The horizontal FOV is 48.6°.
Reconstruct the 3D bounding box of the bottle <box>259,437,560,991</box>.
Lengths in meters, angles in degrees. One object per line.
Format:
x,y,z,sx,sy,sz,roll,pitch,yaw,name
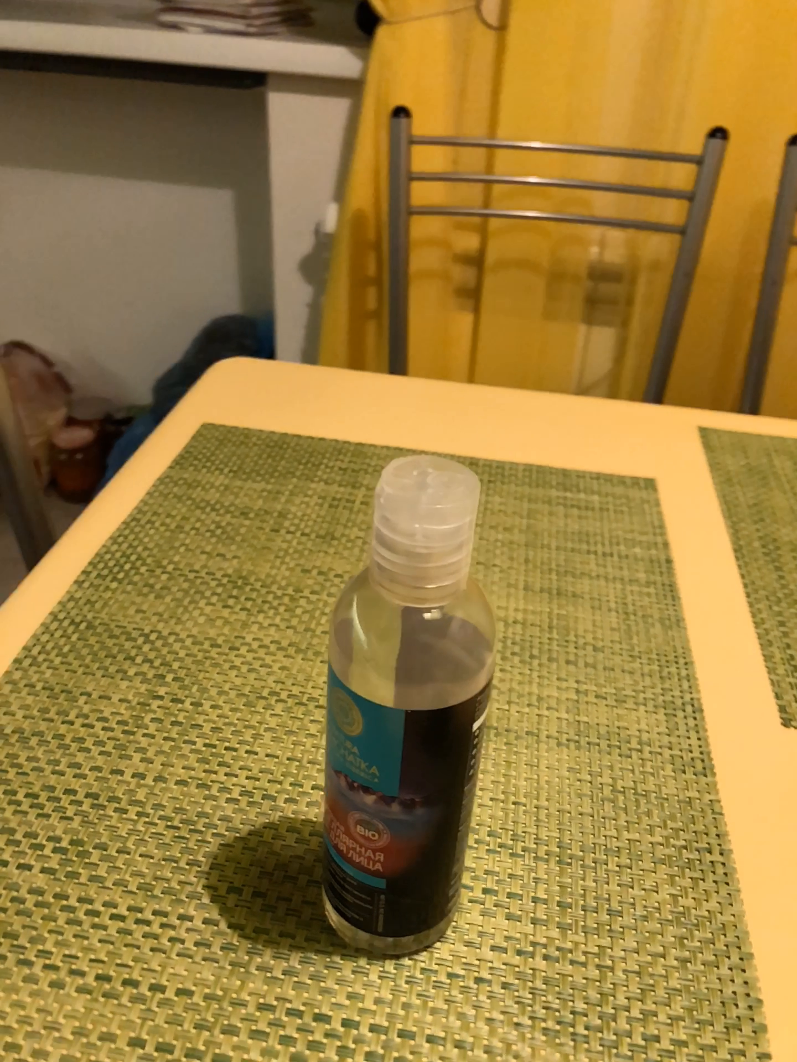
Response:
-0.002,0.056,0.255,0.054,0.149,0.051,3,33,-2,bottle
